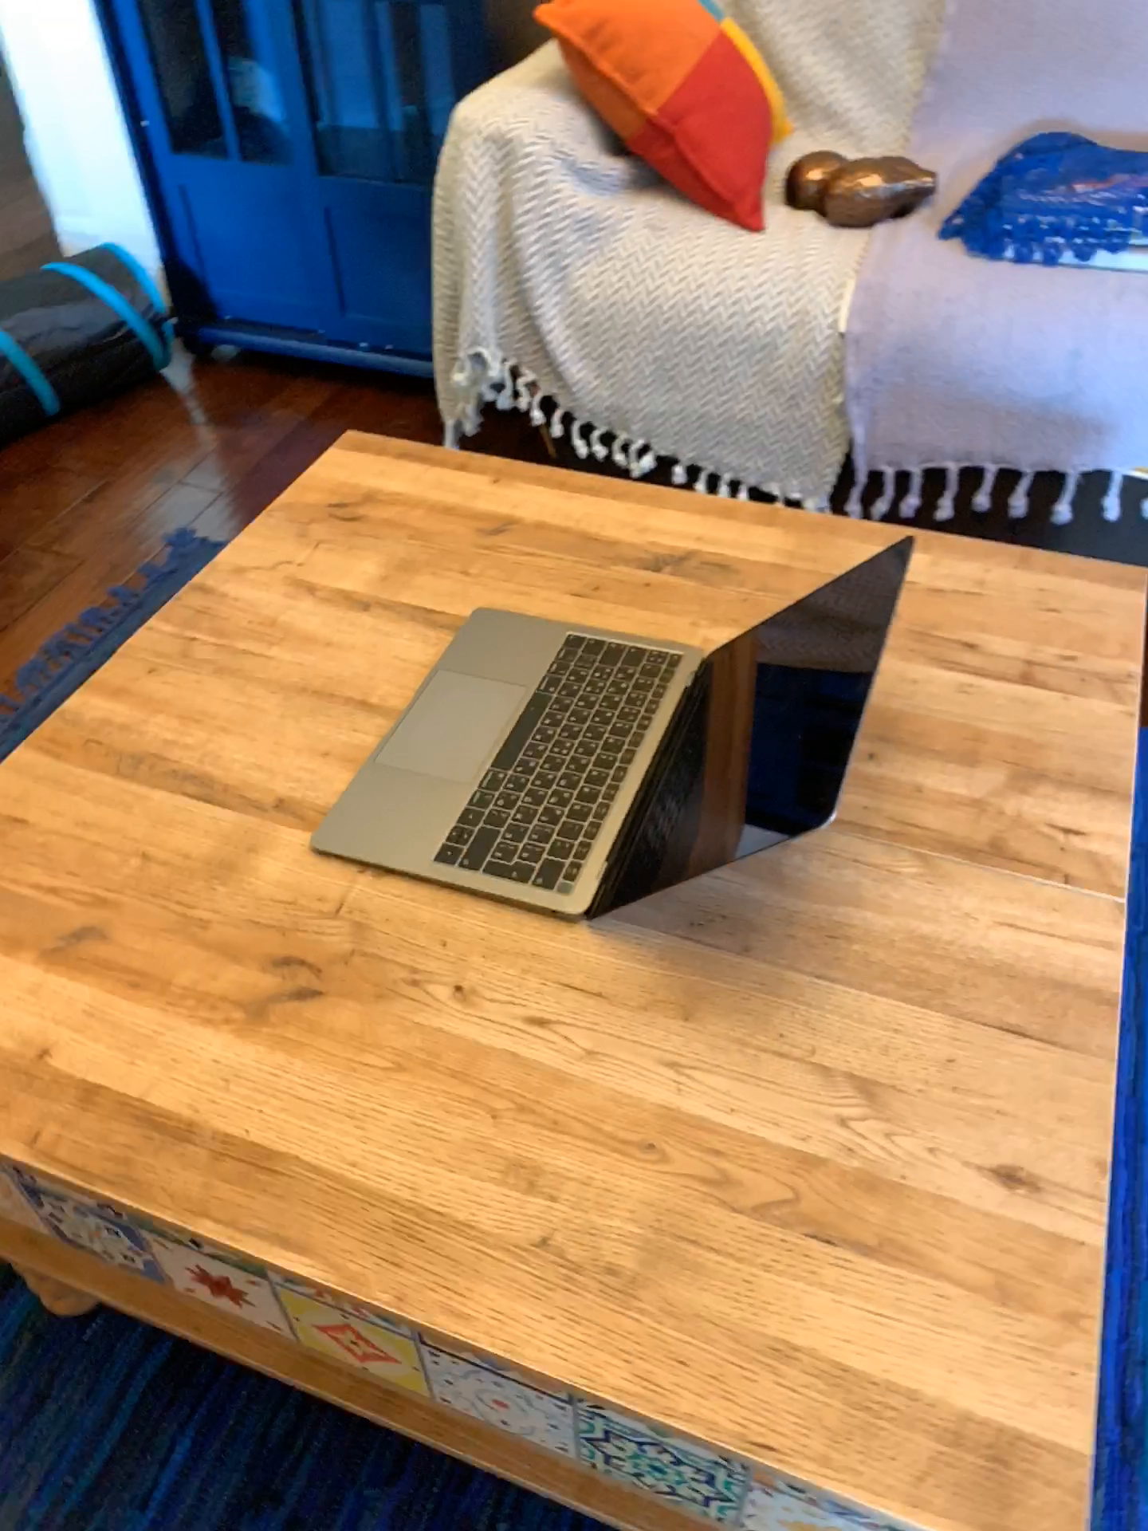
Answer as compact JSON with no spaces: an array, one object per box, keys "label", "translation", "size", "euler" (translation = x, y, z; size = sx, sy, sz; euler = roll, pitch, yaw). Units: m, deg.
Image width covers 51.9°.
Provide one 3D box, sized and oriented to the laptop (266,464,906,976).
[{"label":"laptop","translation":[0.023,-0.054,0.838],"size":[0.353,0.141,0.292],"euler":[13,46,16]}]
